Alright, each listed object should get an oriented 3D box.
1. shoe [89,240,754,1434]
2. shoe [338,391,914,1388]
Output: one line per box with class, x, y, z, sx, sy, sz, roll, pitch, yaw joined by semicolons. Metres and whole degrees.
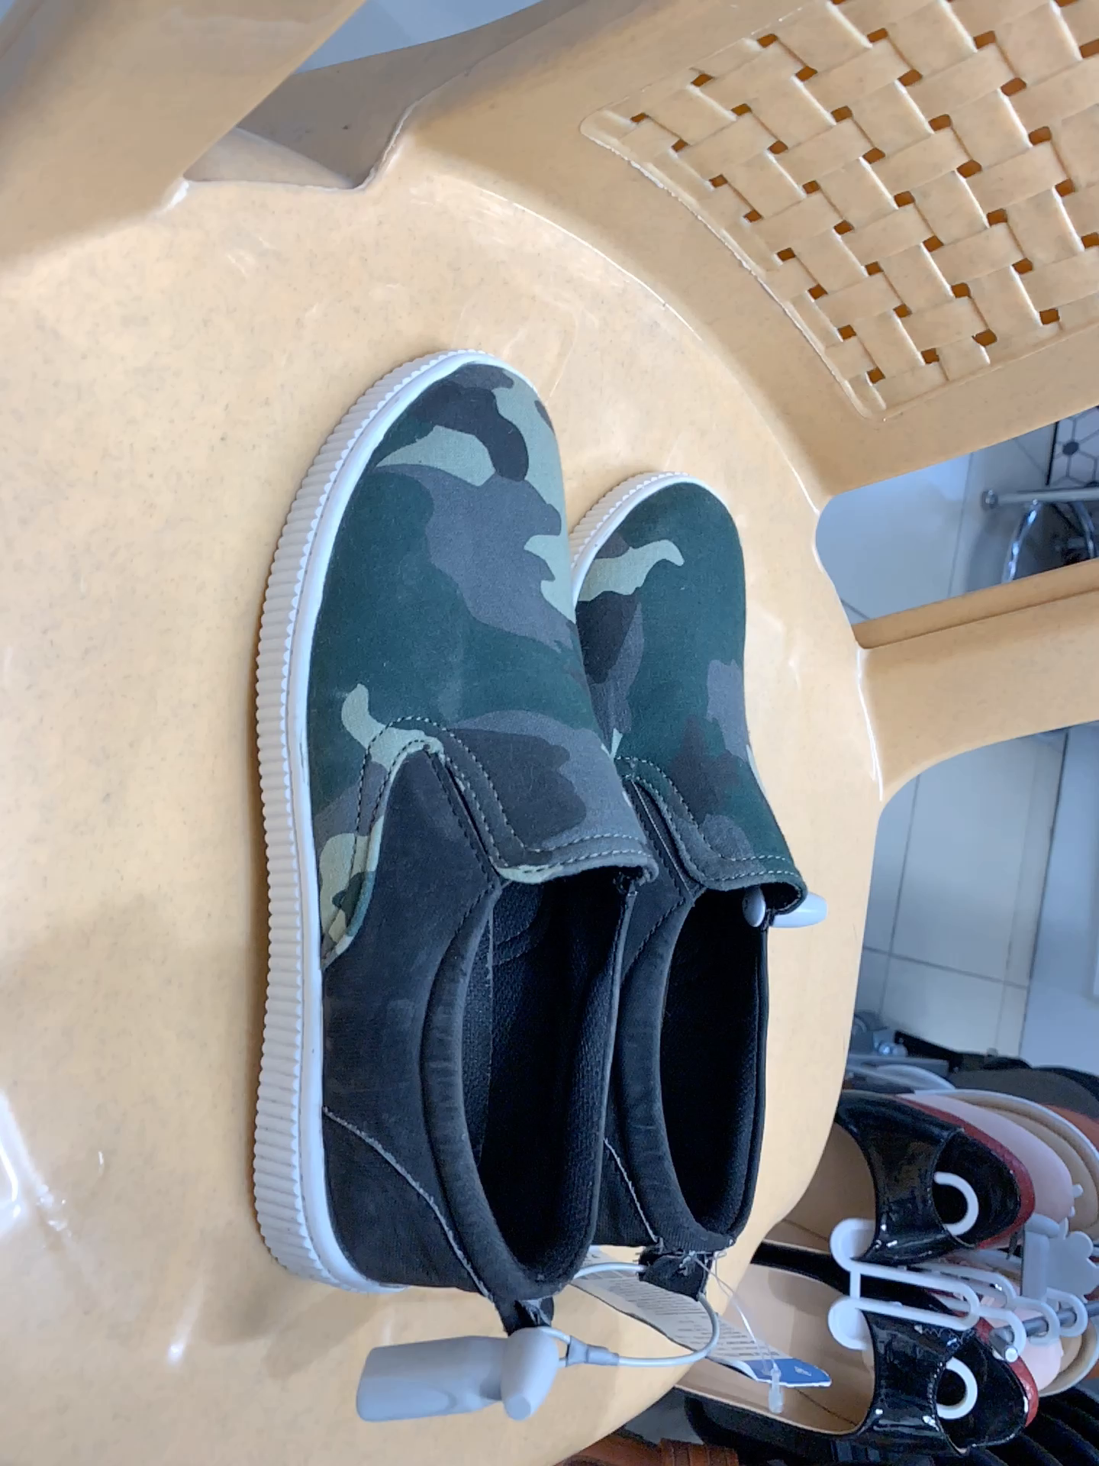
shoe;-0.030;0.019;0.275;0.091;0.099;0.220;11;85;-45
shoe;0.028;0.040;0.336;0.091;0.099;0.240;21;74;-43
